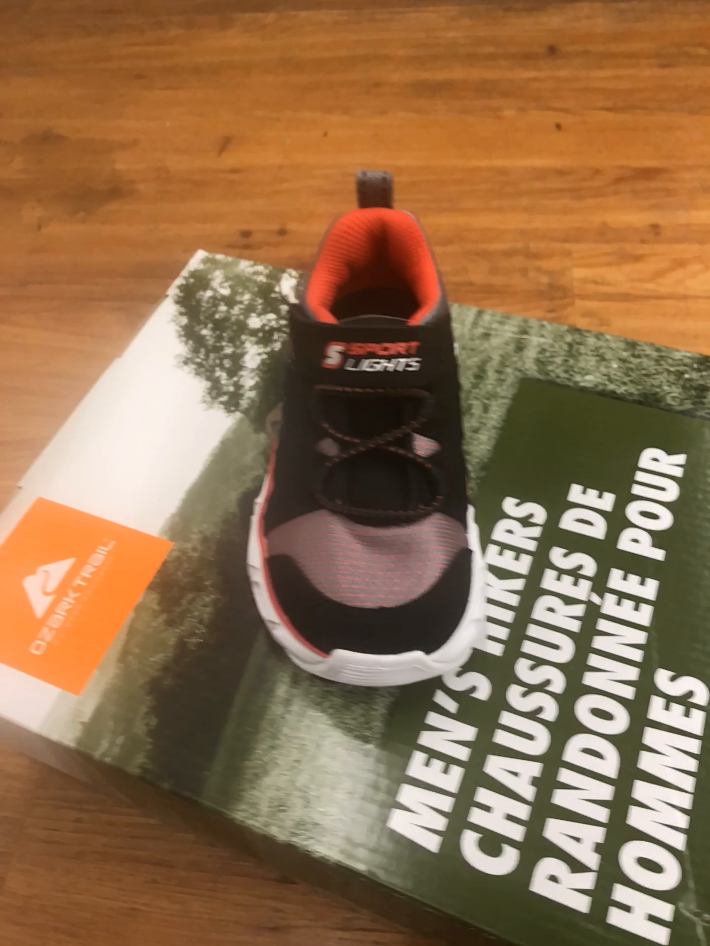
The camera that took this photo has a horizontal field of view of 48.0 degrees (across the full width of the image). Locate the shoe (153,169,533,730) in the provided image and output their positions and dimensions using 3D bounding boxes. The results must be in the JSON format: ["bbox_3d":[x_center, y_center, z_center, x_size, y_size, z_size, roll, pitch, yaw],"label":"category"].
[{"bbox_3d":[0.006,-0.014,0.274,0.090,0.090,0.170,1,53,7],"label":"shoe"}]
